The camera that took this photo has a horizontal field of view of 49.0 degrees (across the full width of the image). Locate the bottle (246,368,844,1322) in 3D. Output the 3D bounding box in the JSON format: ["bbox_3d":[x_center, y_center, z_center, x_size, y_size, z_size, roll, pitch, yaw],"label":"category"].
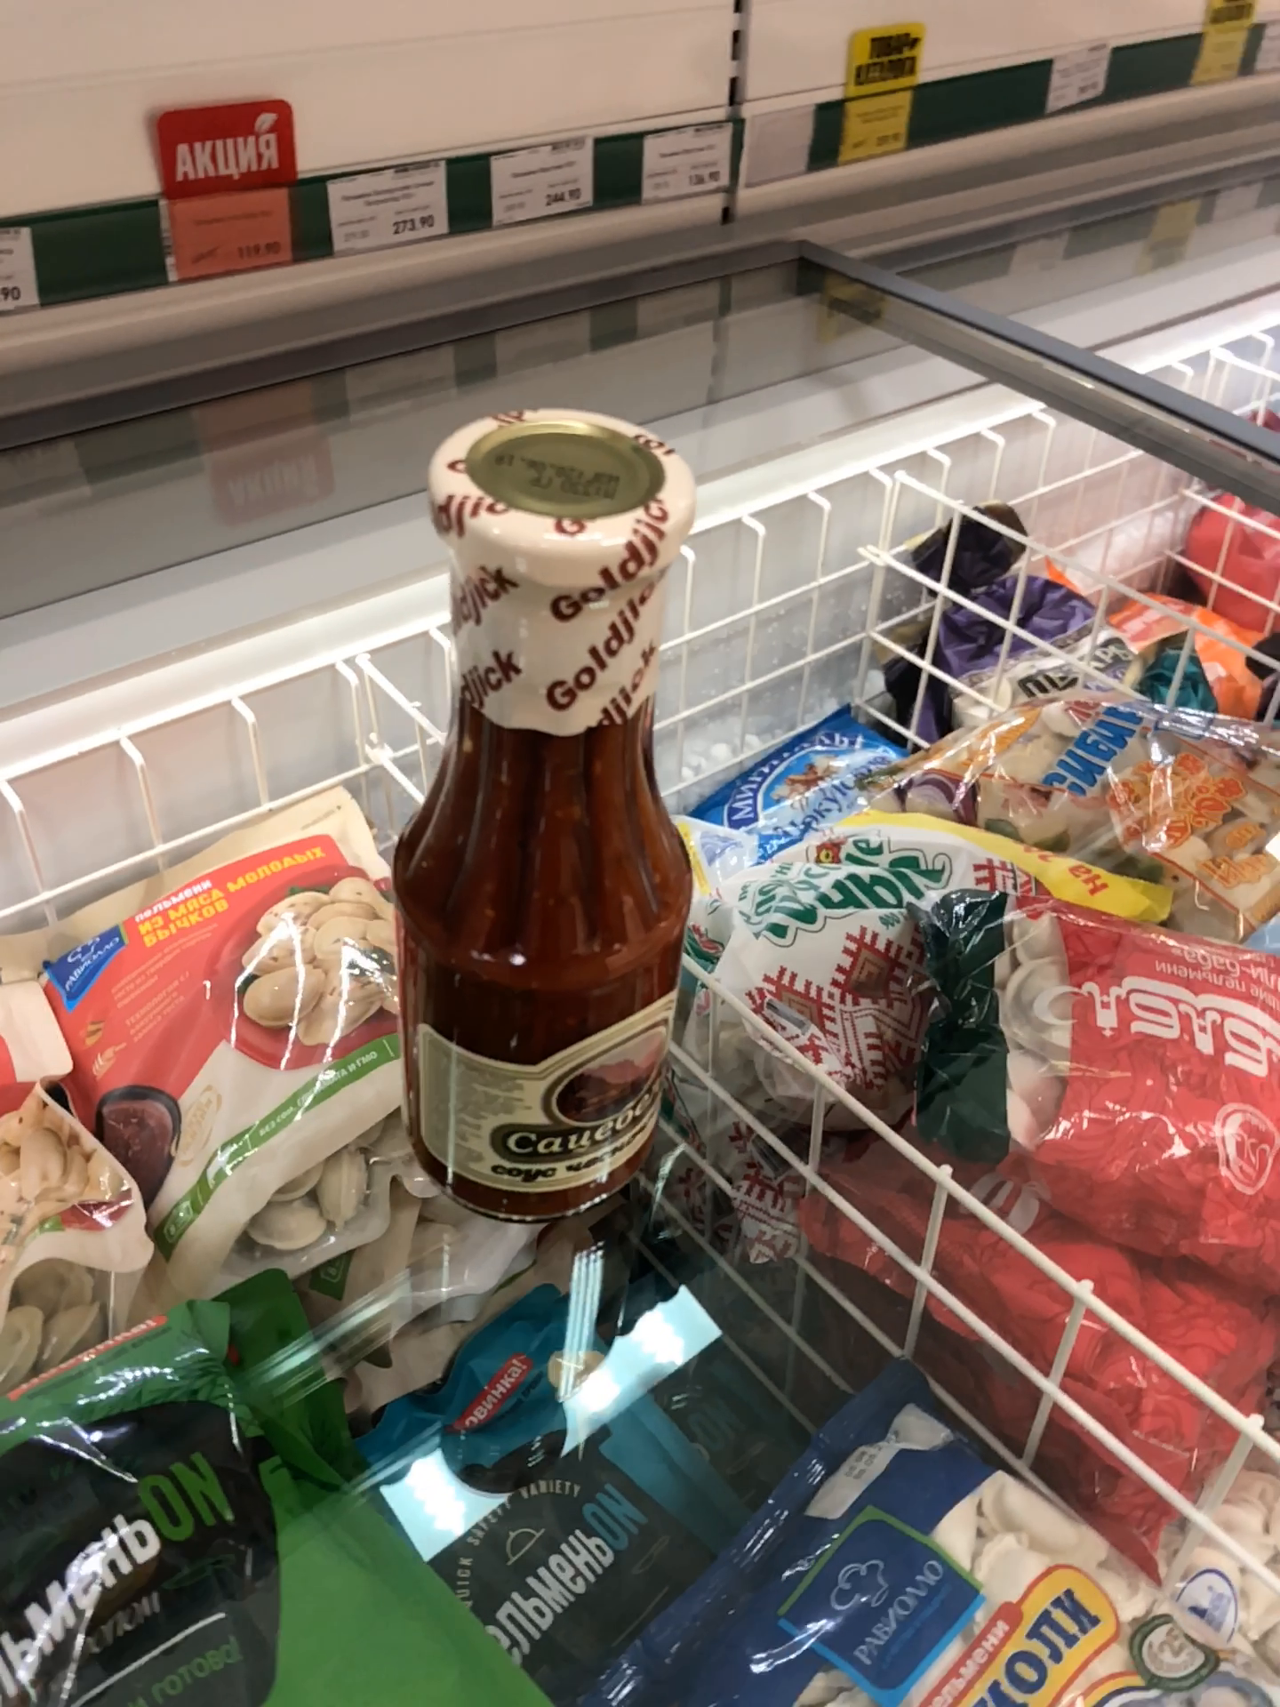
[{"bbox_3d":[-0.023,0.007,0.292,0.070,0.179,0.070,3,43,-3],"label":"bottle"}]
